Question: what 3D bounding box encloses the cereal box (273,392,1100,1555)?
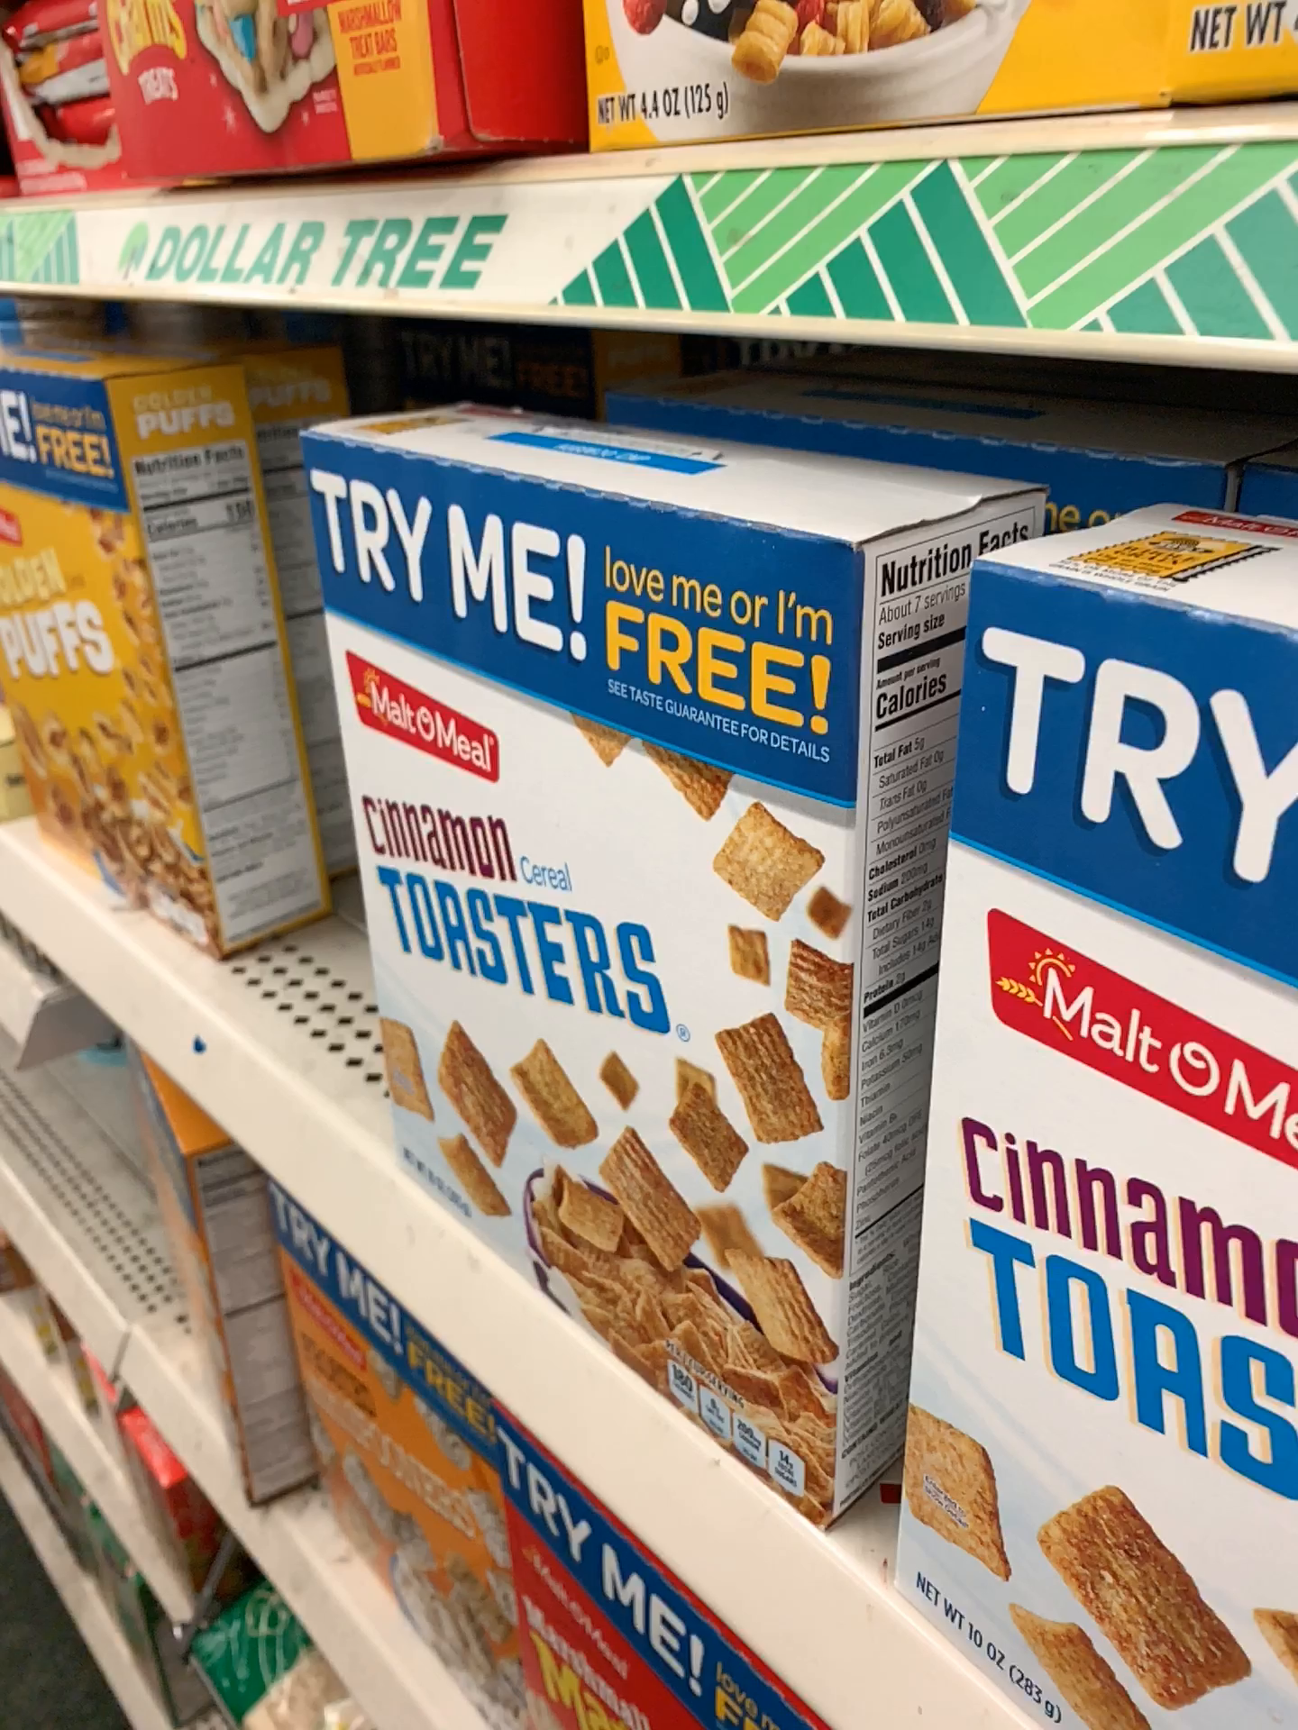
[{"bbox_3d":[-0.002,0.015,0.303,0.050,0.209,0.171,-25,36,-37],"label":"cereal box"}]
